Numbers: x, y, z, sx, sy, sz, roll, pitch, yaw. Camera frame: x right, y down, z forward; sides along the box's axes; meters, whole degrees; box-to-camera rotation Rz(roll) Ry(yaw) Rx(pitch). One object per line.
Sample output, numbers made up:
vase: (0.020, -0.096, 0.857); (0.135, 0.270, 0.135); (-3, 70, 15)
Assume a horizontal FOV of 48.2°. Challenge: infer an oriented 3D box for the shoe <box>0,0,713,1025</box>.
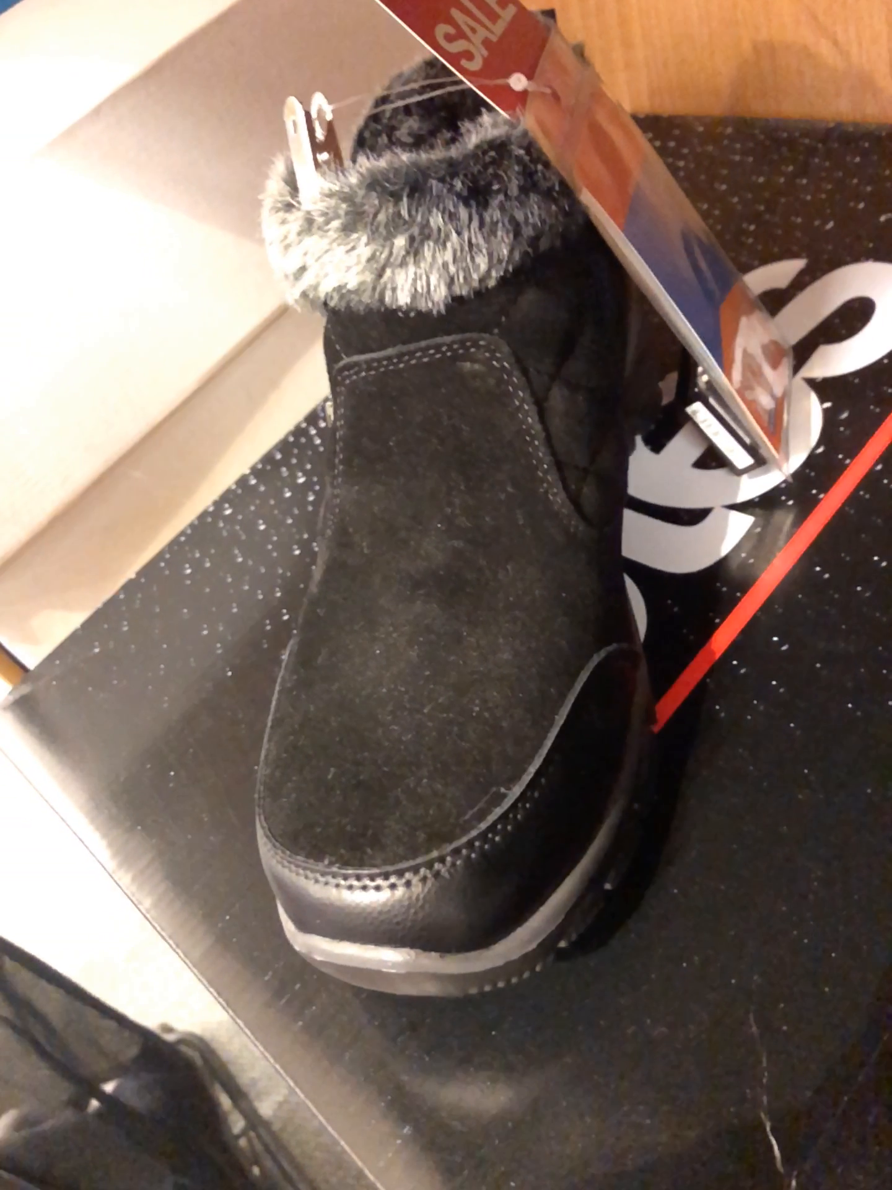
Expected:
shoe: (0.001, -0.040, 0.262); (0.105, 0.112, 0.250); (-4, 49, 24)
